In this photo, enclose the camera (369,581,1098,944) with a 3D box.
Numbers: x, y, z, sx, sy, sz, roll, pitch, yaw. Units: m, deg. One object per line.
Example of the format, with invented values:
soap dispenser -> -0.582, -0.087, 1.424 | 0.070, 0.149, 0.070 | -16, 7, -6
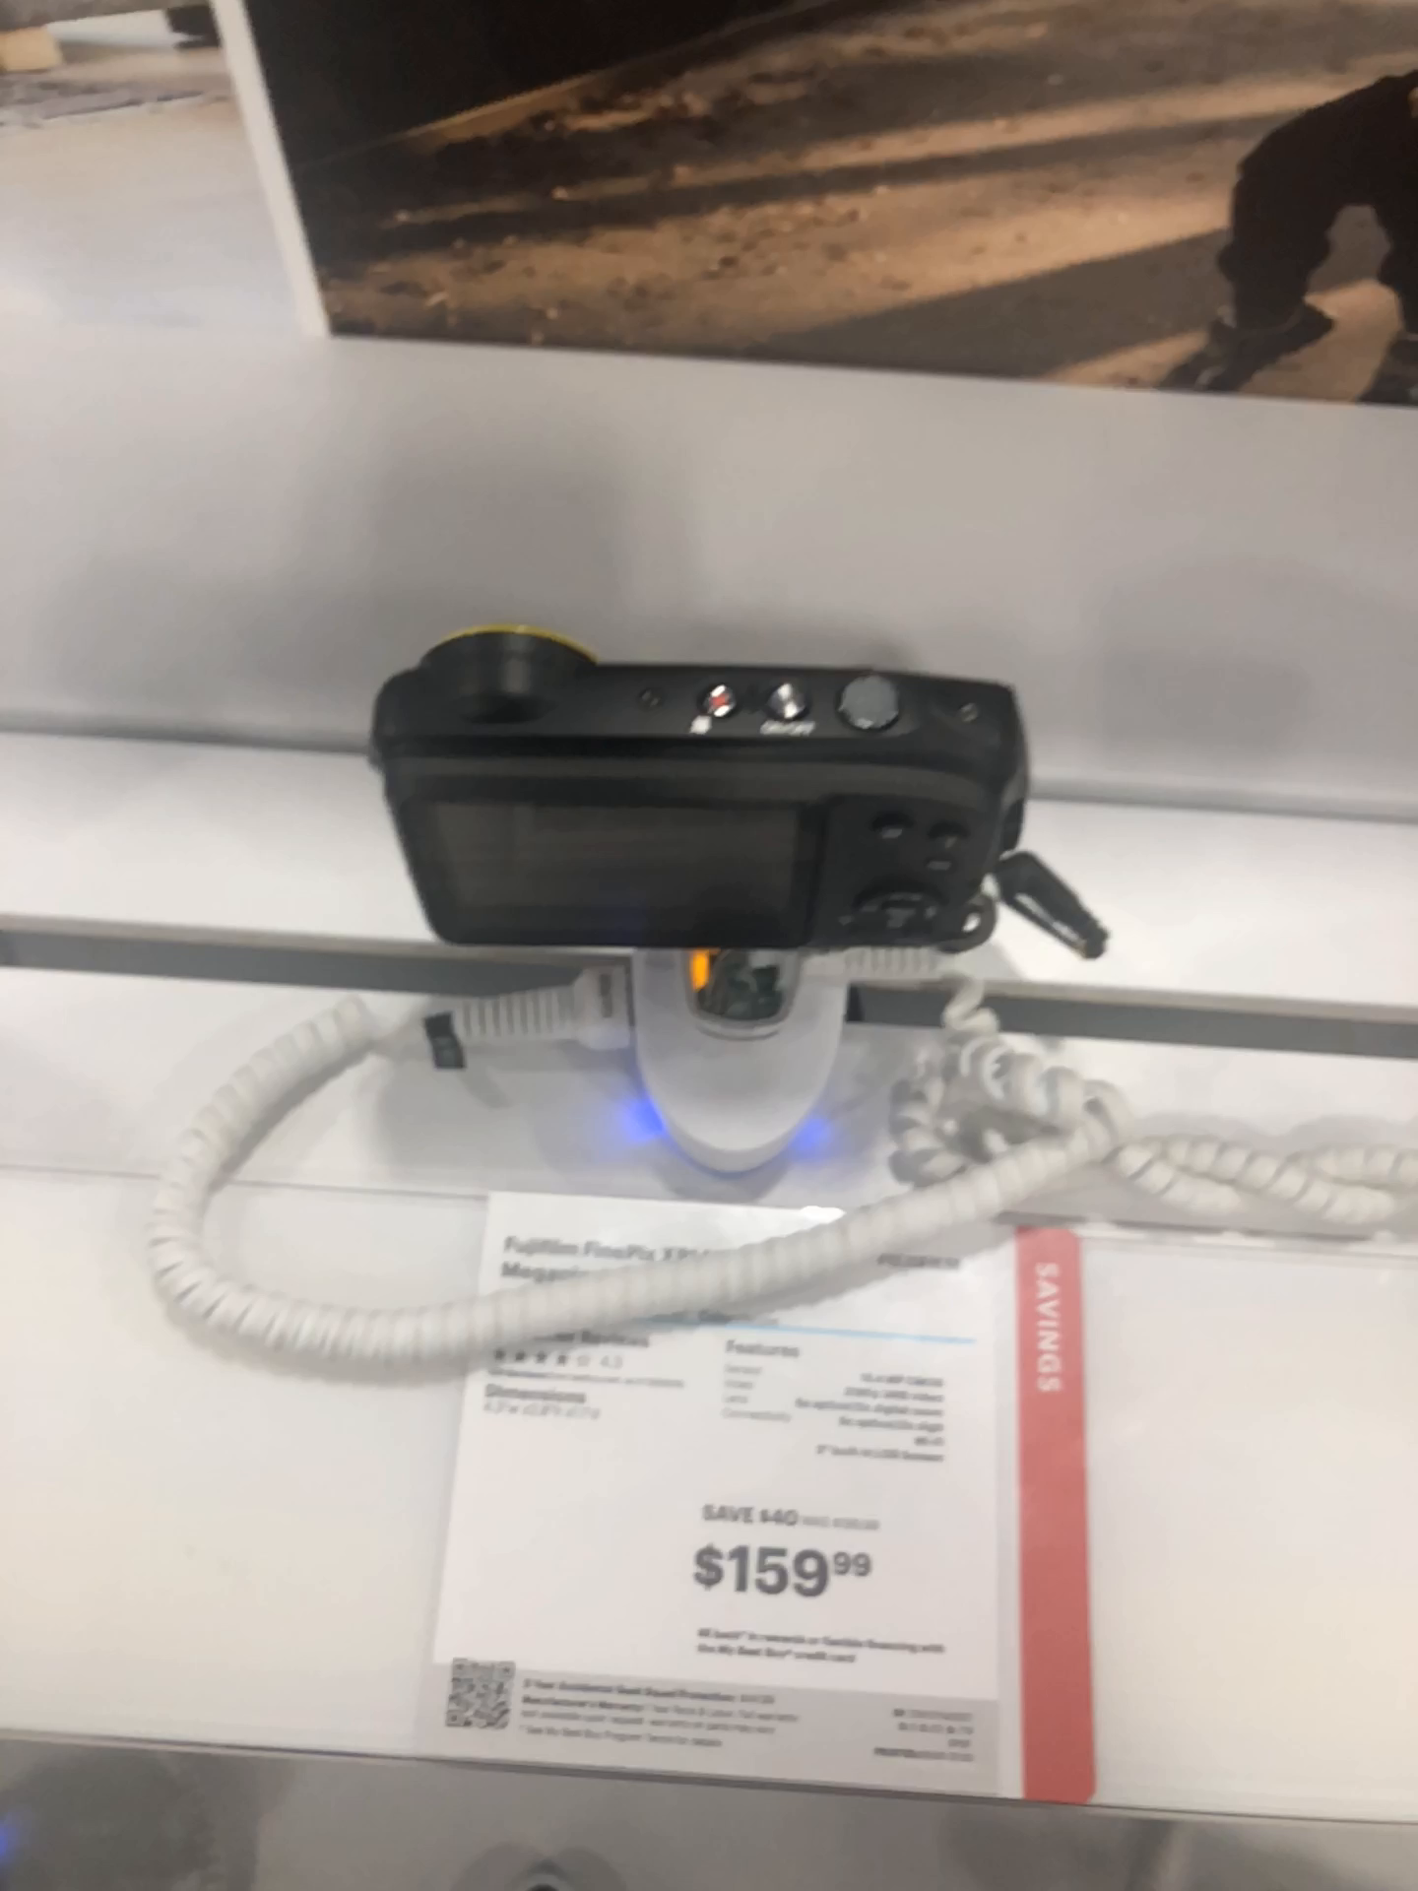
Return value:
camera -> 0.003, -0.029, 0.278 | 0.110, 0.070, 0.030 | 1, 66, -1
